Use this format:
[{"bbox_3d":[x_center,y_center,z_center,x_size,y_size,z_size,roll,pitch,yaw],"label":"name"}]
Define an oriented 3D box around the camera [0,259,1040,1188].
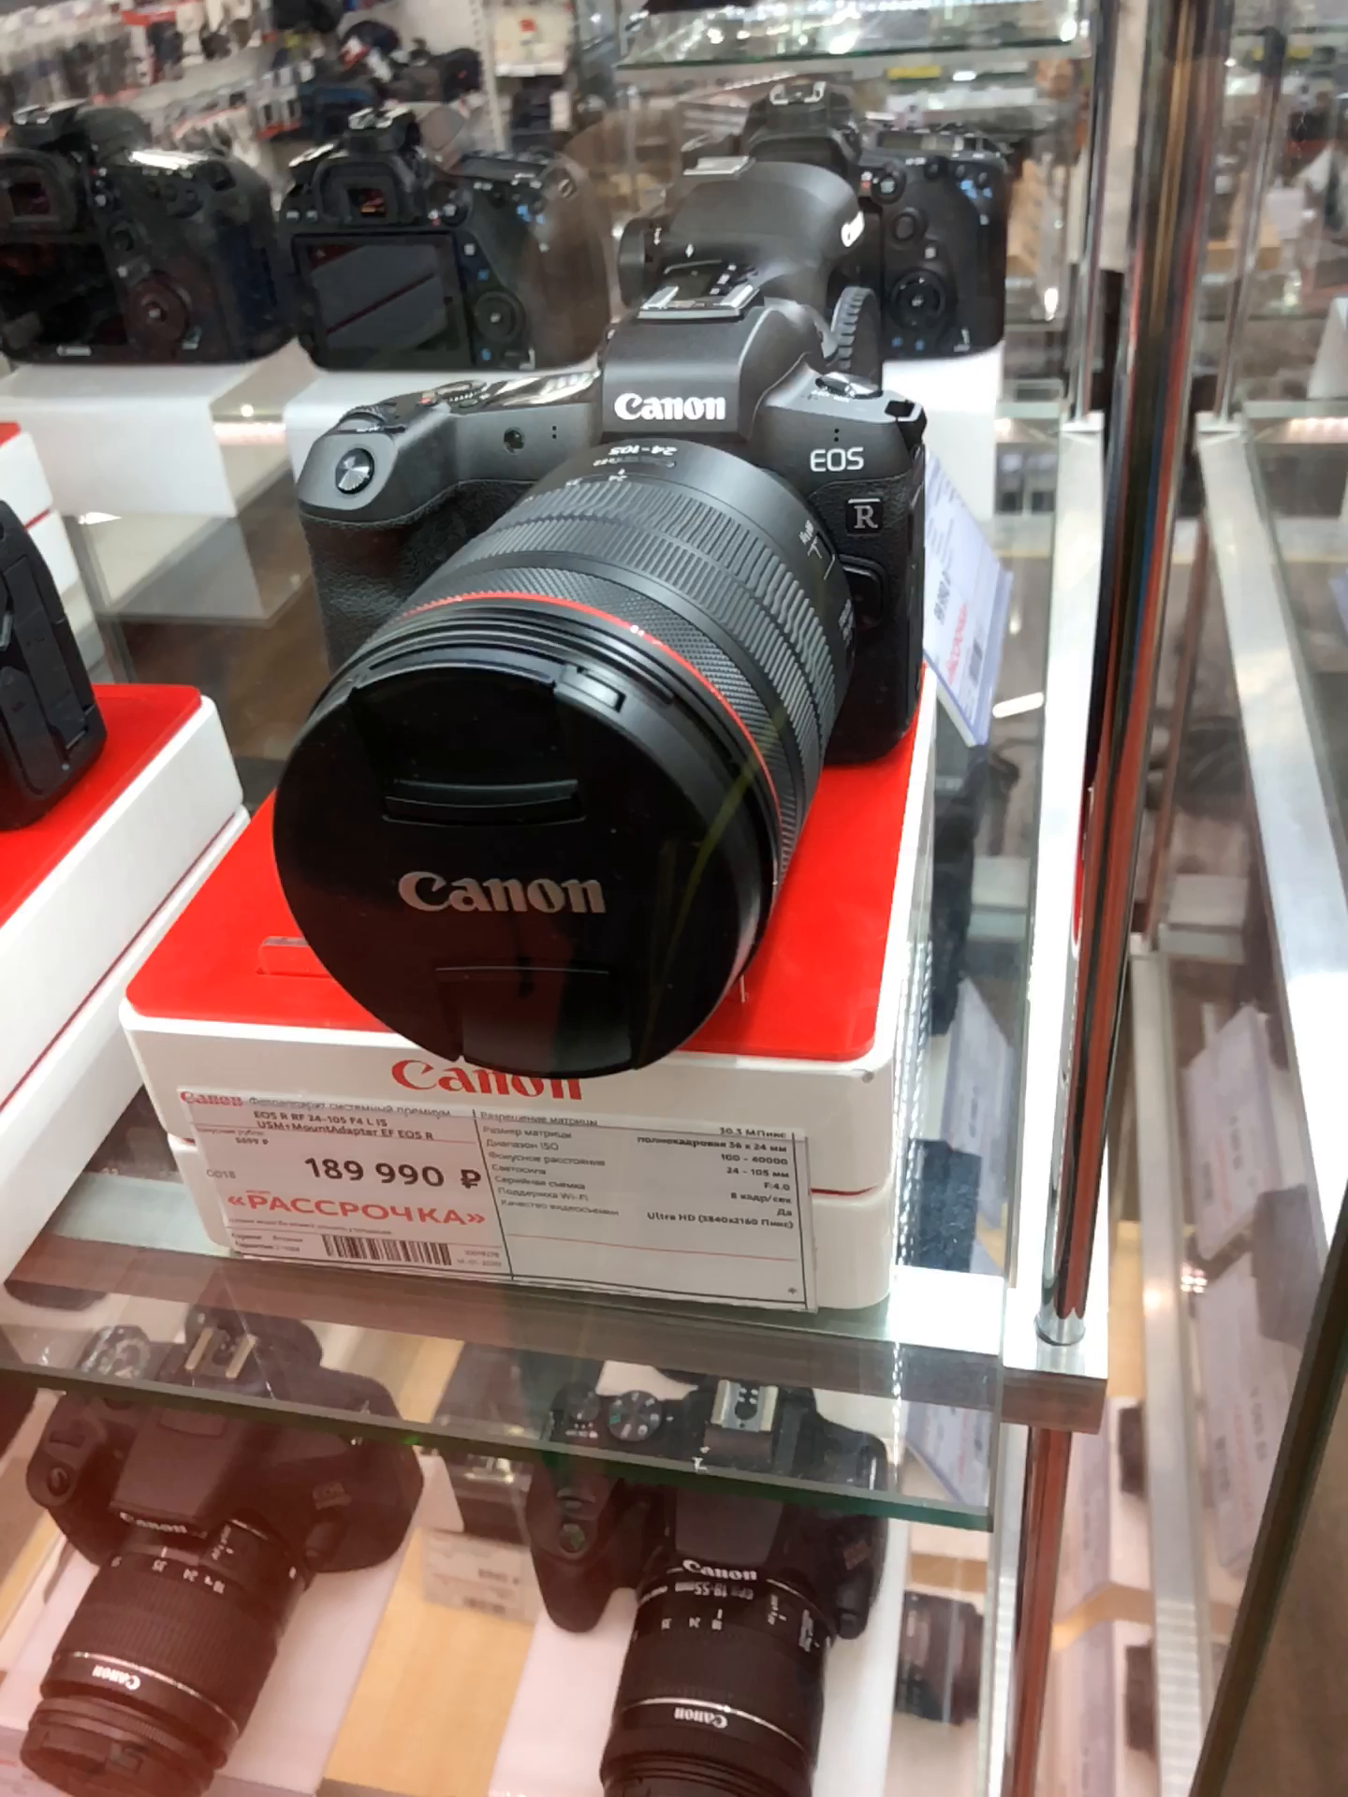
[{"bbox_3d":[-0.007,-0.050,0.290,0.144,0.093,0.181,3,36,12],"label":"camera"}]
